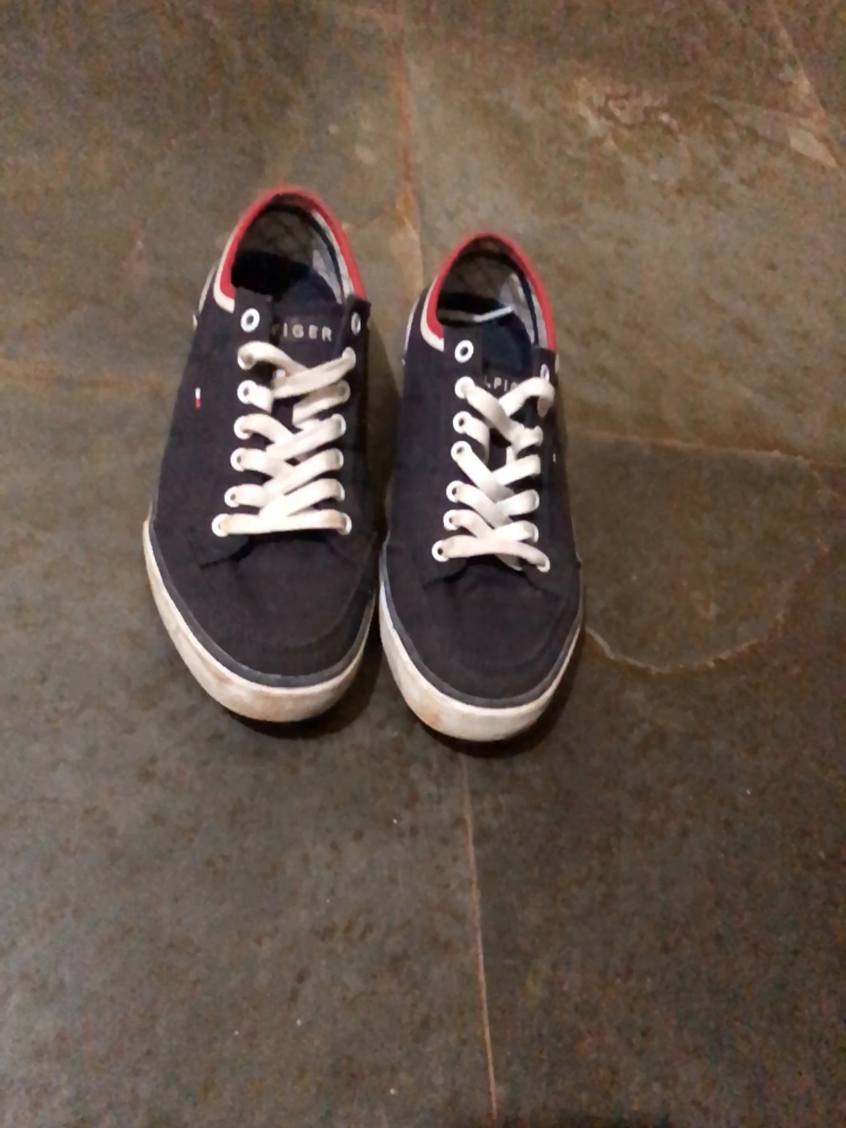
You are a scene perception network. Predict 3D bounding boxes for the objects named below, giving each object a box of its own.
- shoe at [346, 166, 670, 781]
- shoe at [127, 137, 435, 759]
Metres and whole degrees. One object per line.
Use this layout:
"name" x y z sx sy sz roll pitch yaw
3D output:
"shoe" 0.030 -0.055 0.477 0.110 0.099 0.302 8 57 -14
"shoe" -0.073 -0.063 0.453 0.110 0.099 0.292 4 57 -16
